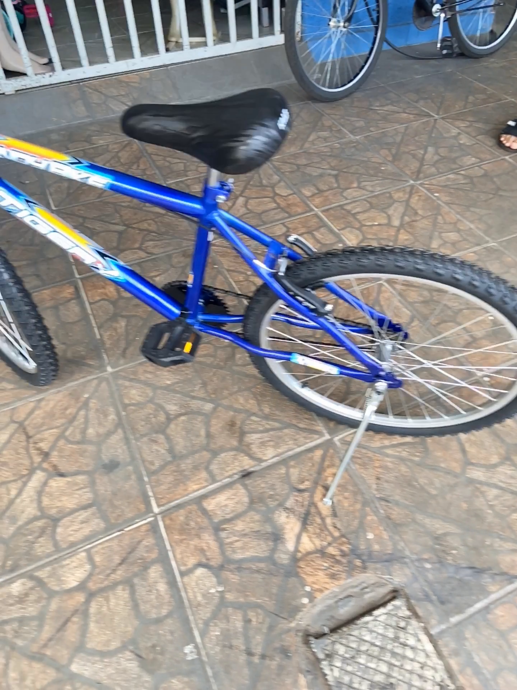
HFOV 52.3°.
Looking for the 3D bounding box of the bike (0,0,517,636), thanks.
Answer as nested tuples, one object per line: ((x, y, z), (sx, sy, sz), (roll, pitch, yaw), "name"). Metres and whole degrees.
((-0.182, -0.220, 1.008), (1.487, 0.923, 0.626), (13, 46, 13), "bike")
